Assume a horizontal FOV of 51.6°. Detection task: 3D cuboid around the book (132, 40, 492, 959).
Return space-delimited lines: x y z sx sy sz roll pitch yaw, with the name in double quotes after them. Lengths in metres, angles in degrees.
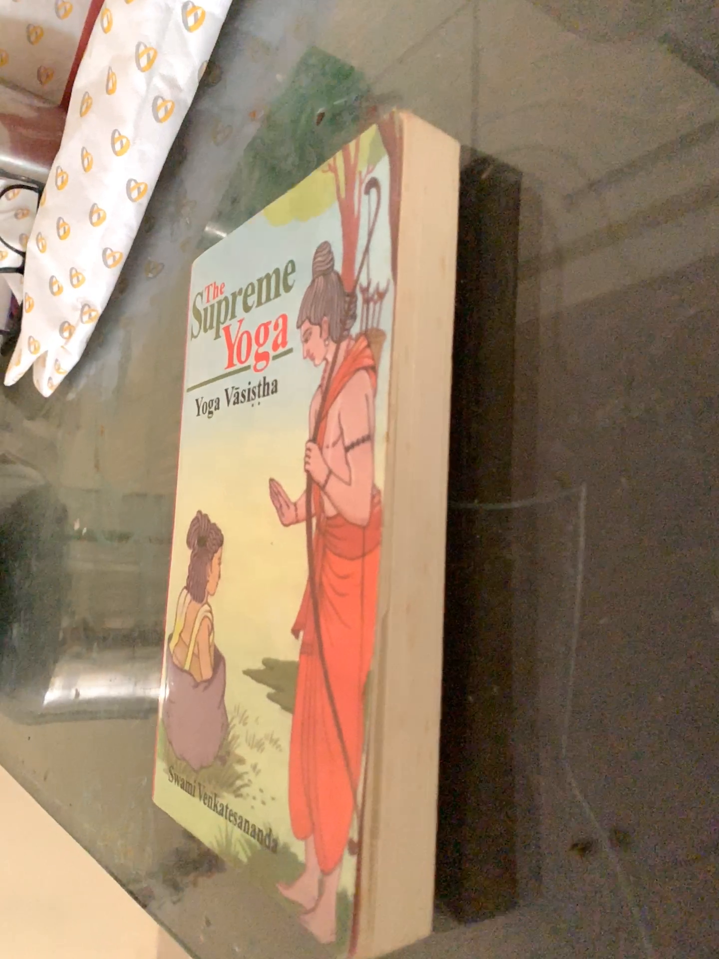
-0.023 0.005 0.230 0.141 0.030 0.210 -9 76 54 "book"
